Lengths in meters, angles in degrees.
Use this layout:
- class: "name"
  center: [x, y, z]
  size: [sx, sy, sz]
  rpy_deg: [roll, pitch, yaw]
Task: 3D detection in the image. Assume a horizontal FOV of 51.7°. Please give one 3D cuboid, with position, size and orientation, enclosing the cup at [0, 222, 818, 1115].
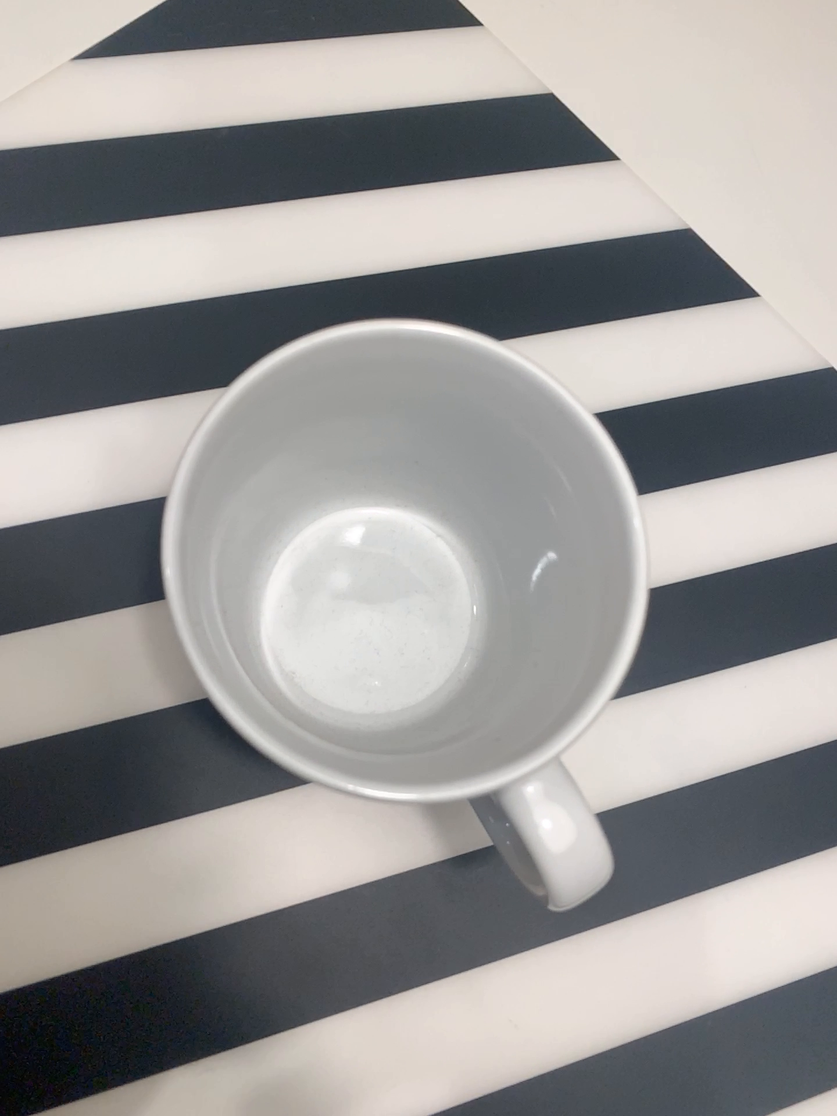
- class: "cup"
  center: [-0.006, 0.019, 0.153]
  size: [0.070, 0.070, 0.110]
  rpy_deg: [-27, 83, -14]
